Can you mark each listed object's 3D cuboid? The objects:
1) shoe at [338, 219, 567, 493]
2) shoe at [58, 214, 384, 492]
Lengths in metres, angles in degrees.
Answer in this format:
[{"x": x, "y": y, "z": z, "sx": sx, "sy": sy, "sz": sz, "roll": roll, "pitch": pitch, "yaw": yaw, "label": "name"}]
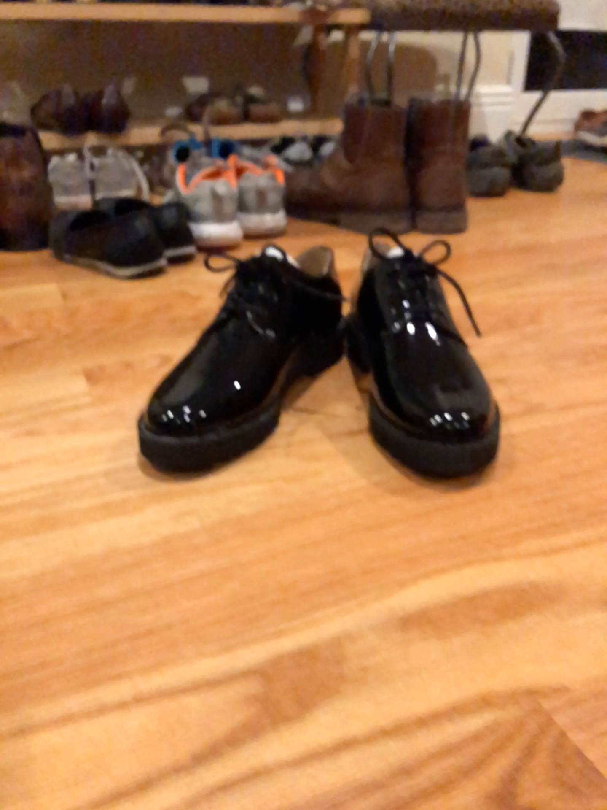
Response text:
[{"x": 0.084, "y": -0.054, "z": 0.487, "sx": 0.095, "sy": 0.101, "sz": 0.252, "roll": -2, "pitch": 28, "yaw": -2, "label": "shoe"}, {"x": -0.038, "y": -0.057, "z": 0.488, "sx": 0.095, "sy": 0.101, "sz": 0.252, "roll": 14, "pitch": 31, "yaw": 25, "label": "shoe"}]
